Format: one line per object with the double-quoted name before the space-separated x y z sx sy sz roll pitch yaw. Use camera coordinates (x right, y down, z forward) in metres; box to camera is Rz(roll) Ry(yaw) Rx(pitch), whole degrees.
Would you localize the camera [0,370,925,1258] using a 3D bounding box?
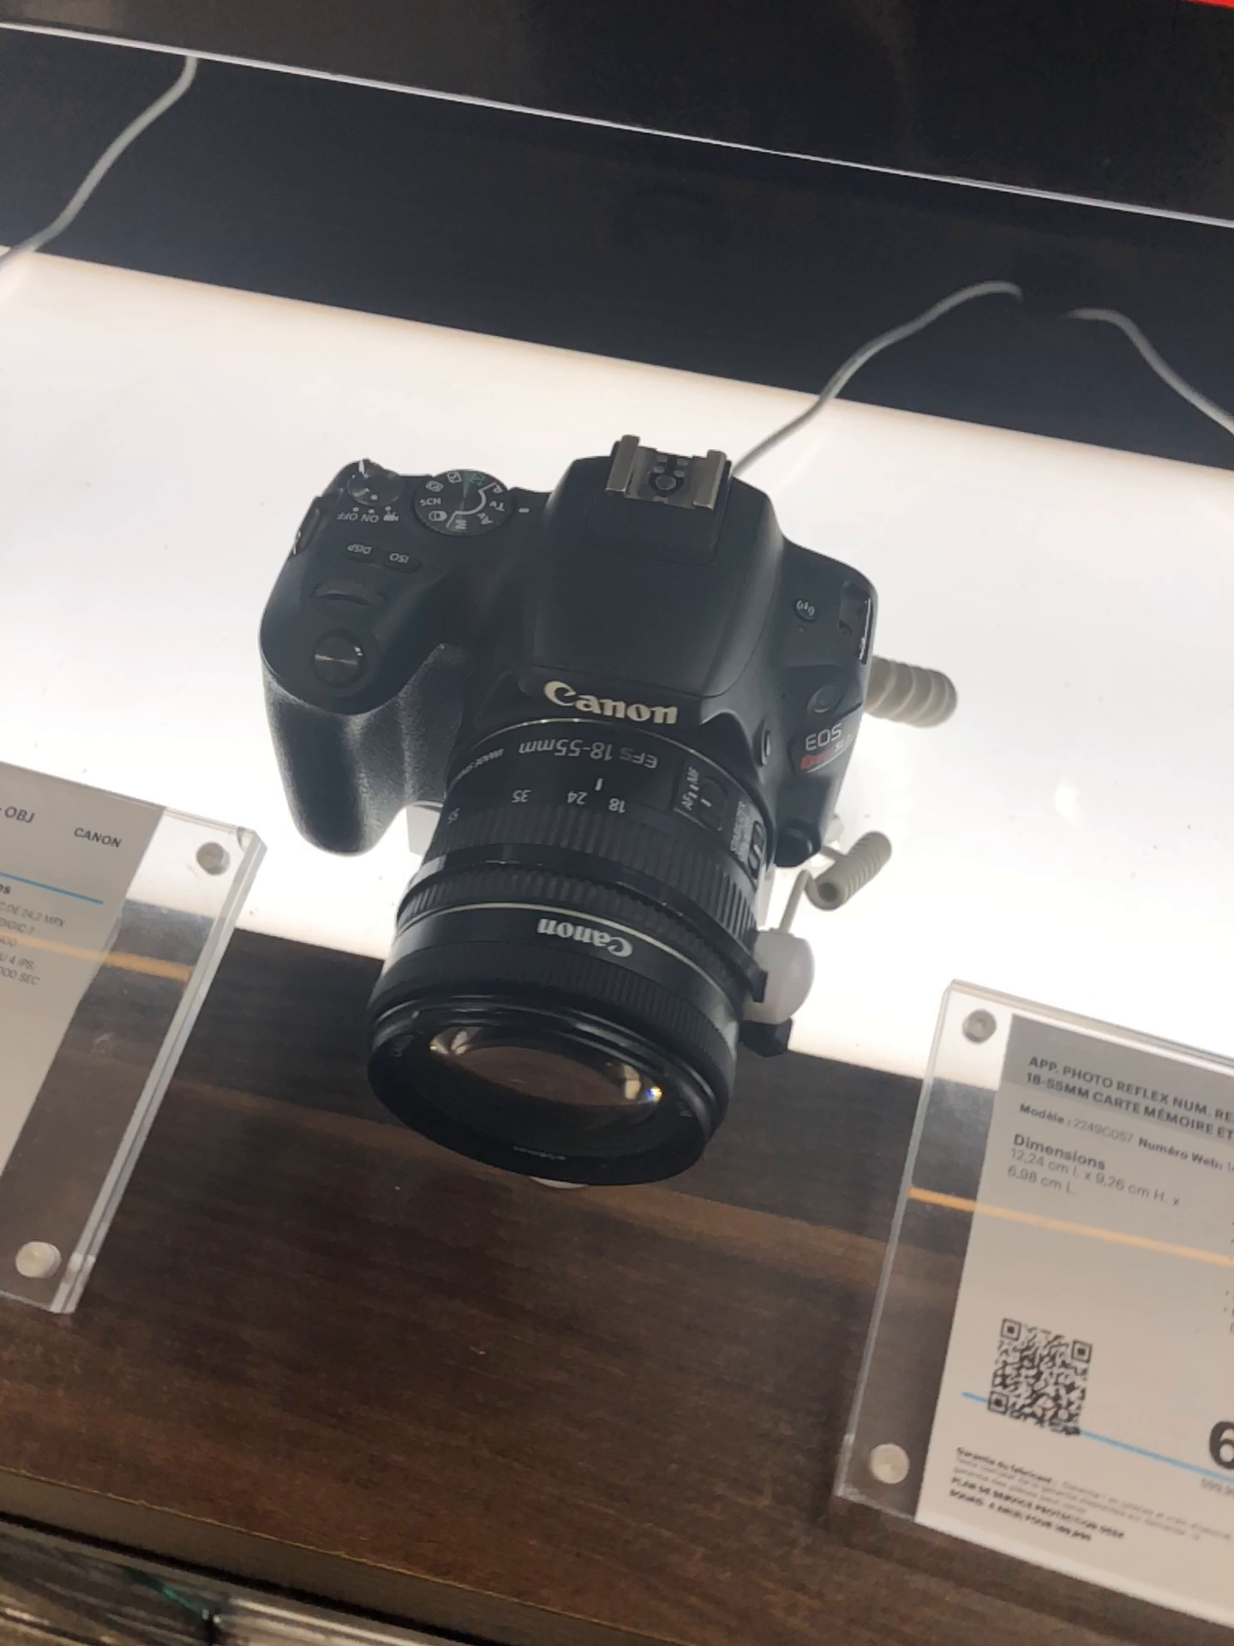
"camera" -0.018 -0.005 0.256 0.124 0.082 0.119 12 53 5
